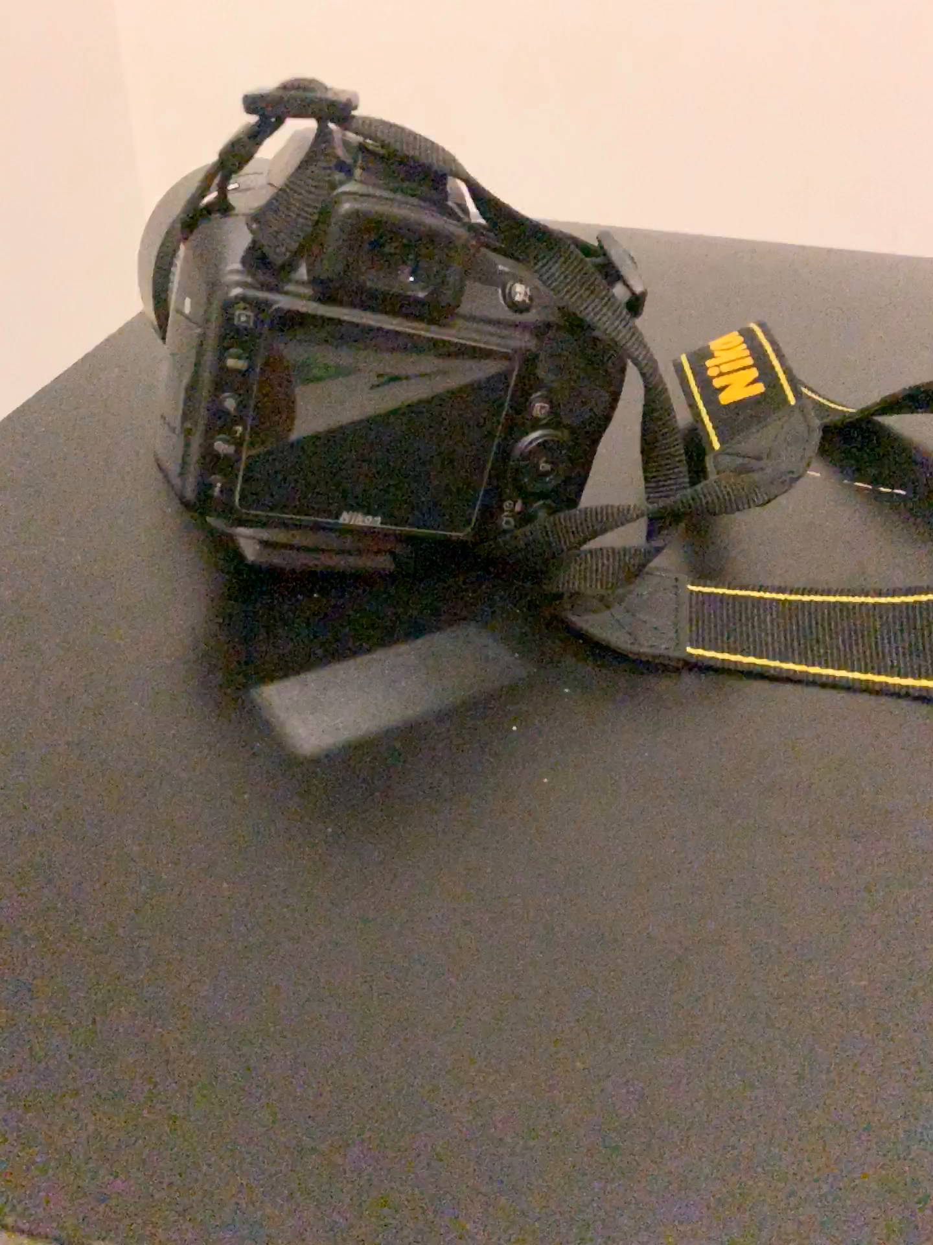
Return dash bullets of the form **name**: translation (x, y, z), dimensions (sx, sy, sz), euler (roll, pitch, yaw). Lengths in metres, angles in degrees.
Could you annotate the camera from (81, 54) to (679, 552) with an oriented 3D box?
- **camera**: translation (-0.052, -0.117, 0.322), dimensions (0.116, 0.089, 0.221), euler (4, 28, -29)
